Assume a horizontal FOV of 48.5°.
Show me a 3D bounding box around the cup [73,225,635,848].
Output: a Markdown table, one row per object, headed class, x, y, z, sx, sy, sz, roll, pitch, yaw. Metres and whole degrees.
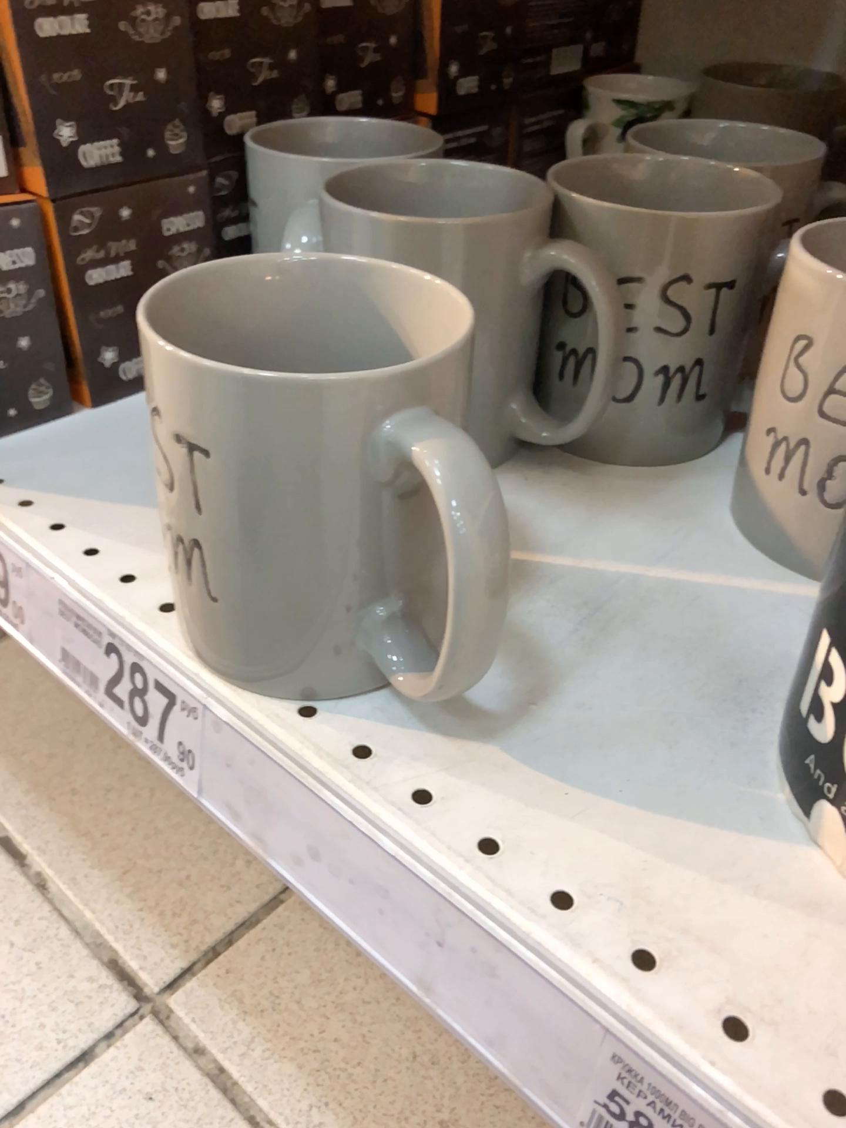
| class | x | y | z | sx | sy | sz | roll | pitch | yaw |
| --- | --- | --- | --- | --- | --- | --- | --- | --- | --- |
| cup | -0.031 | -0.023 | 0.288 | 0.101 | 0.121 | 0.143 | -14 | 36 | -27 |
